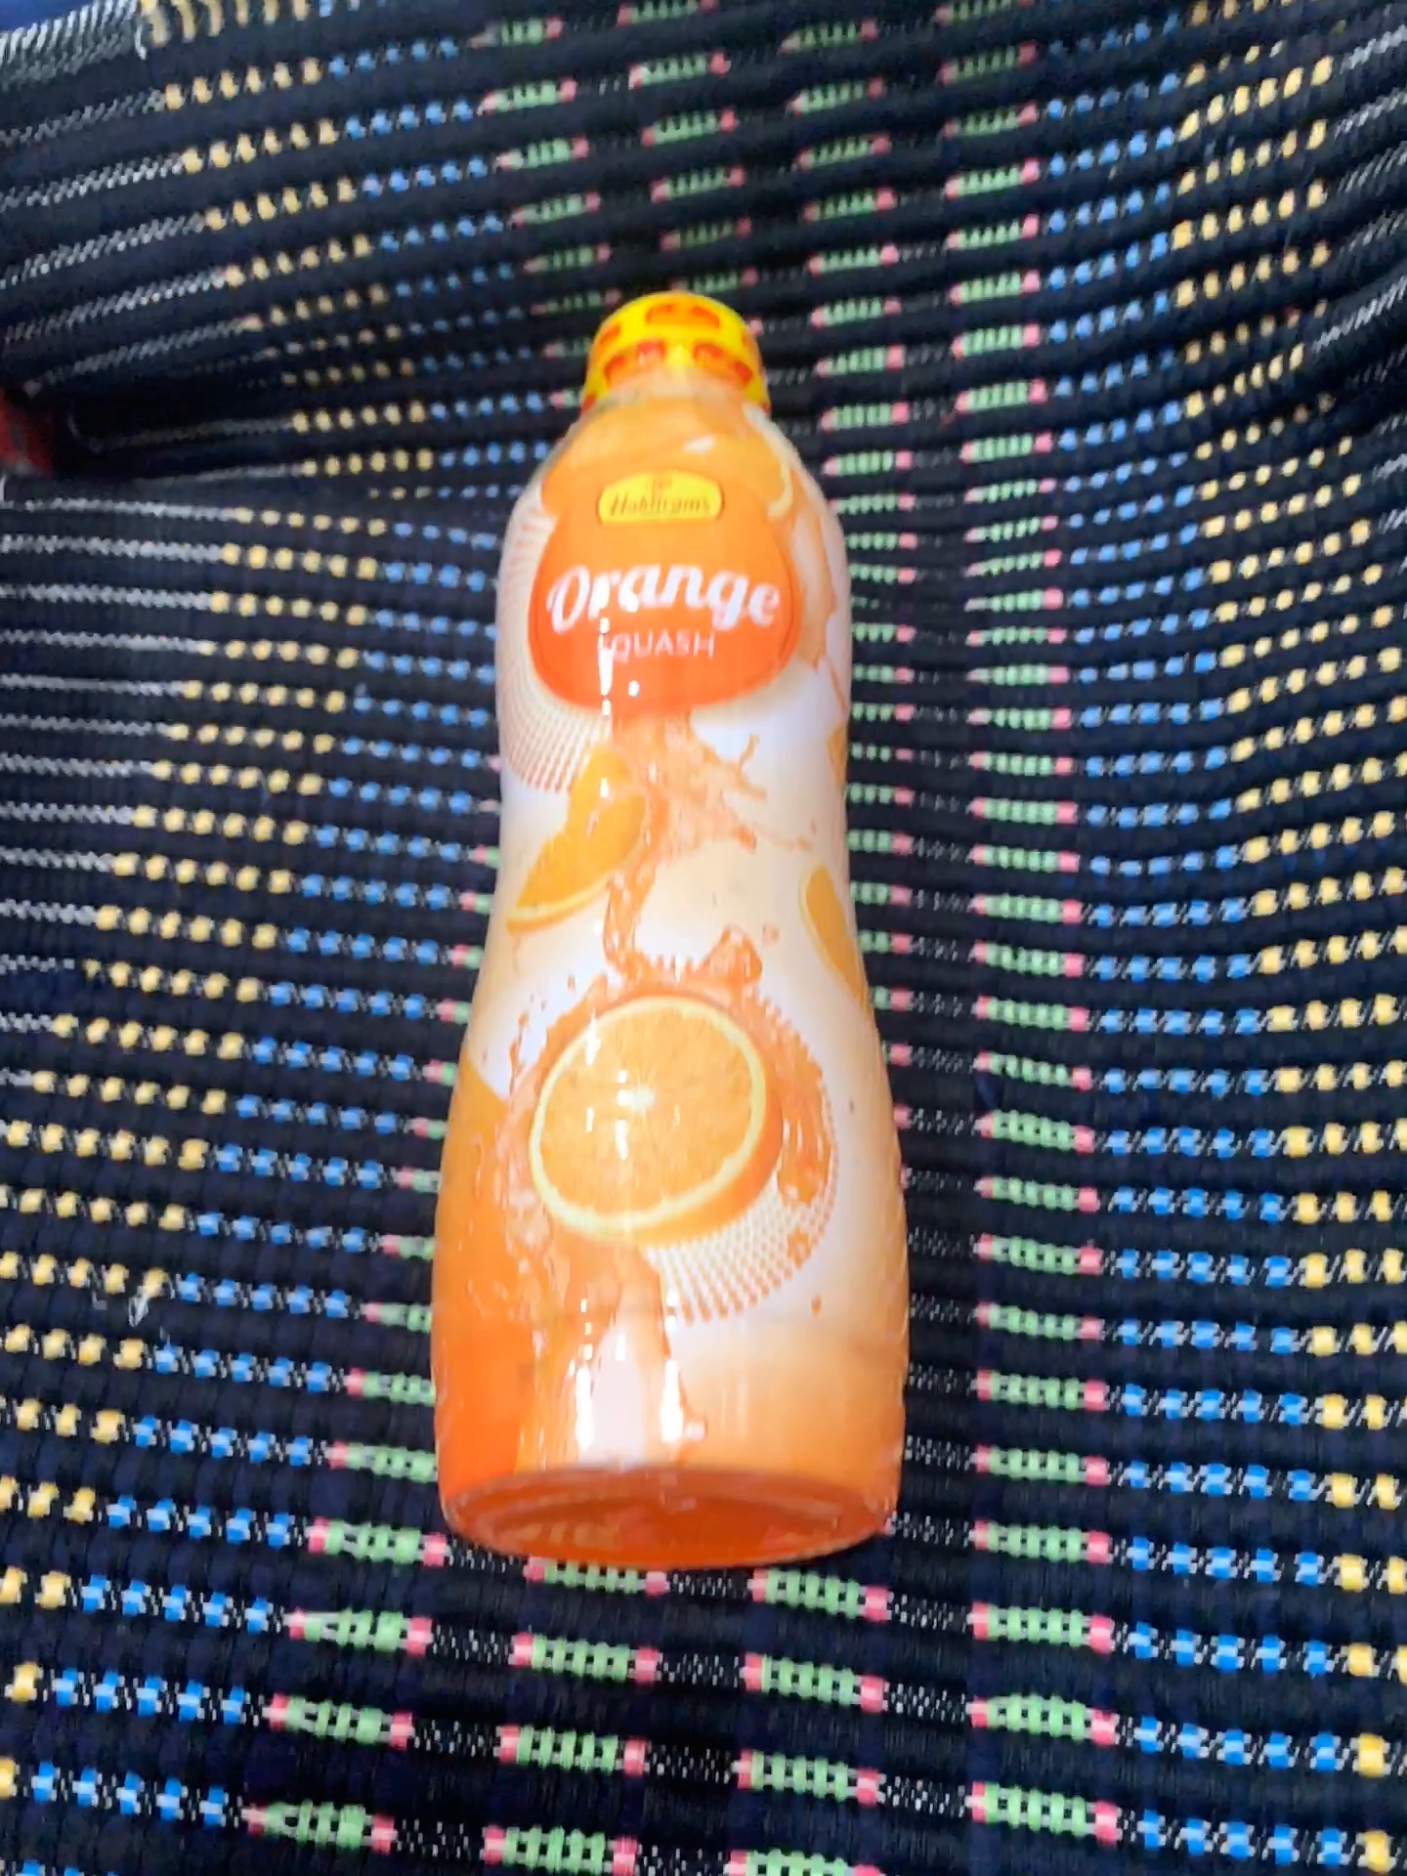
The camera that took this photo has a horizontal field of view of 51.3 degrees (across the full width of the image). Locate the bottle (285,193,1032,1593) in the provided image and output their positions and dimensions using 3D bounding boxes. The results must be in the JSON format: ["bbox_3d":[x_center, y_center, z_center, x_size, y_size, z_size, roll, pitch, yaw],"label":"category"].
[{"bbox_3d":[-0.003,-0.029,0.251,0.080,0.060,0.251,-2,56,3],"label":"bottle"}]
